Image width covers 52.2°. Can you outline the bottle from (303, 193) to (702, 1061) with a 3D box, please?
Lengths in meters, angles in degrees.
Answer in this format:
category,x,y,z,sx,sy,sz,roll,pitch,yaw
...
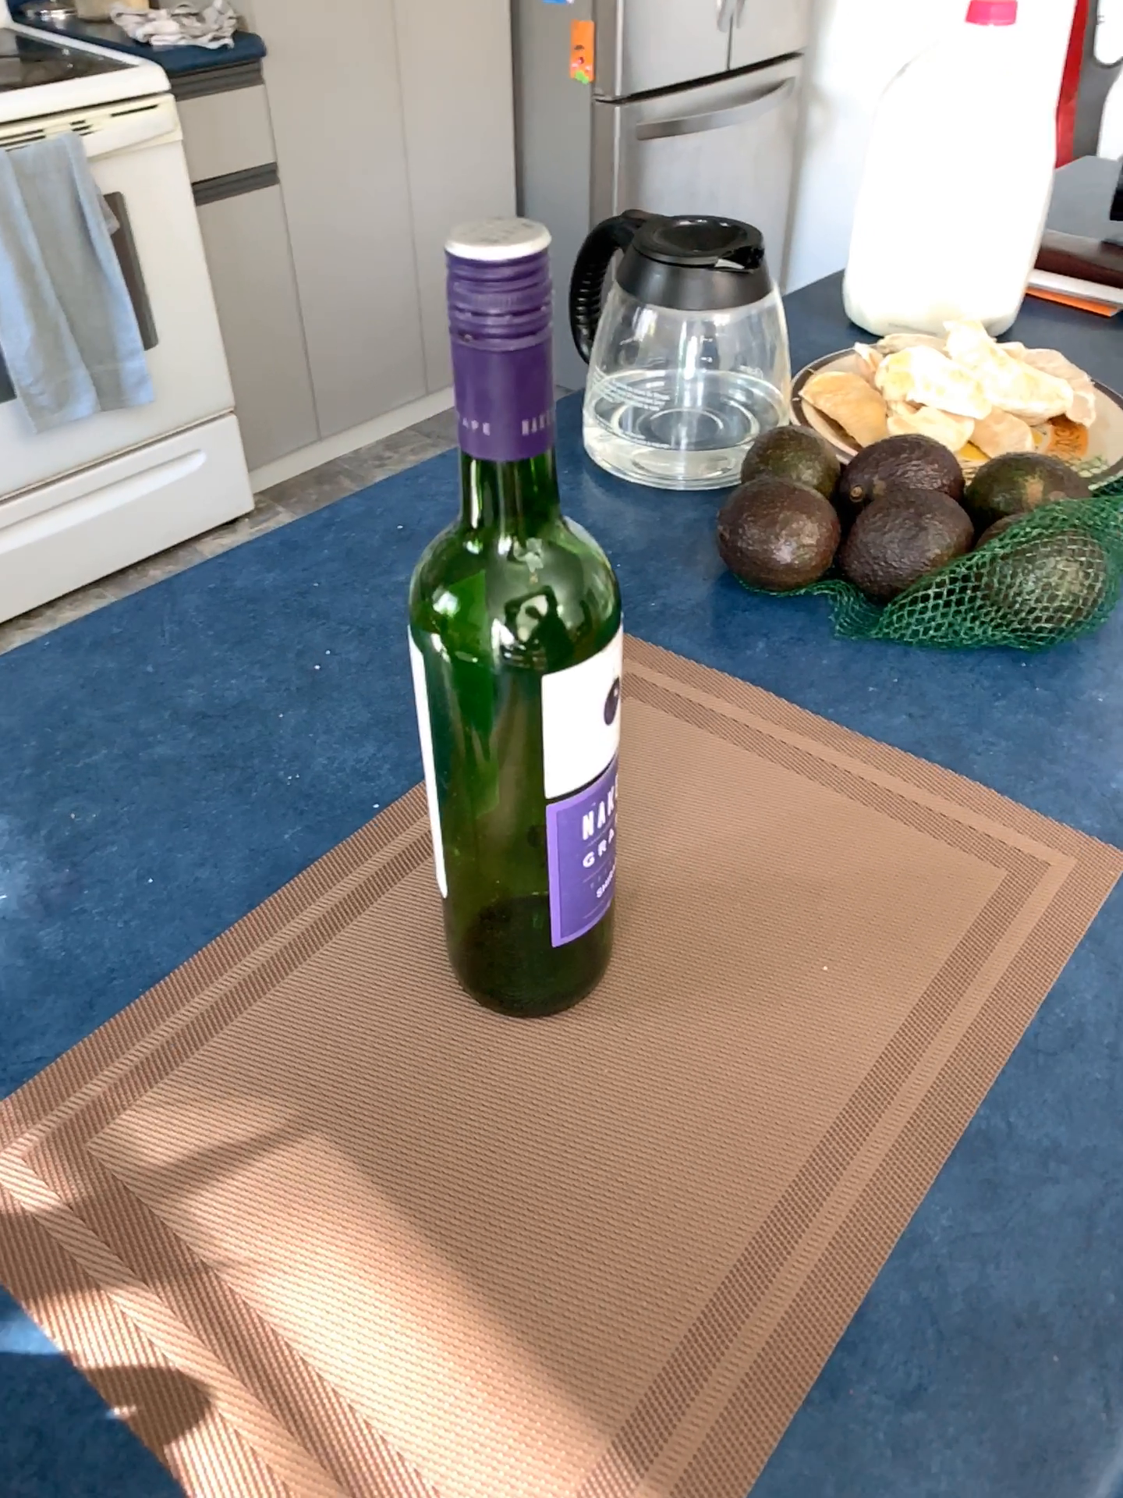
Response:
category,x,y,z,sx,sy,sz,roll,pitch,yaw
bottle,-0.011,-0.021,0.392,0.080,0.287,0.081,0,41,0
